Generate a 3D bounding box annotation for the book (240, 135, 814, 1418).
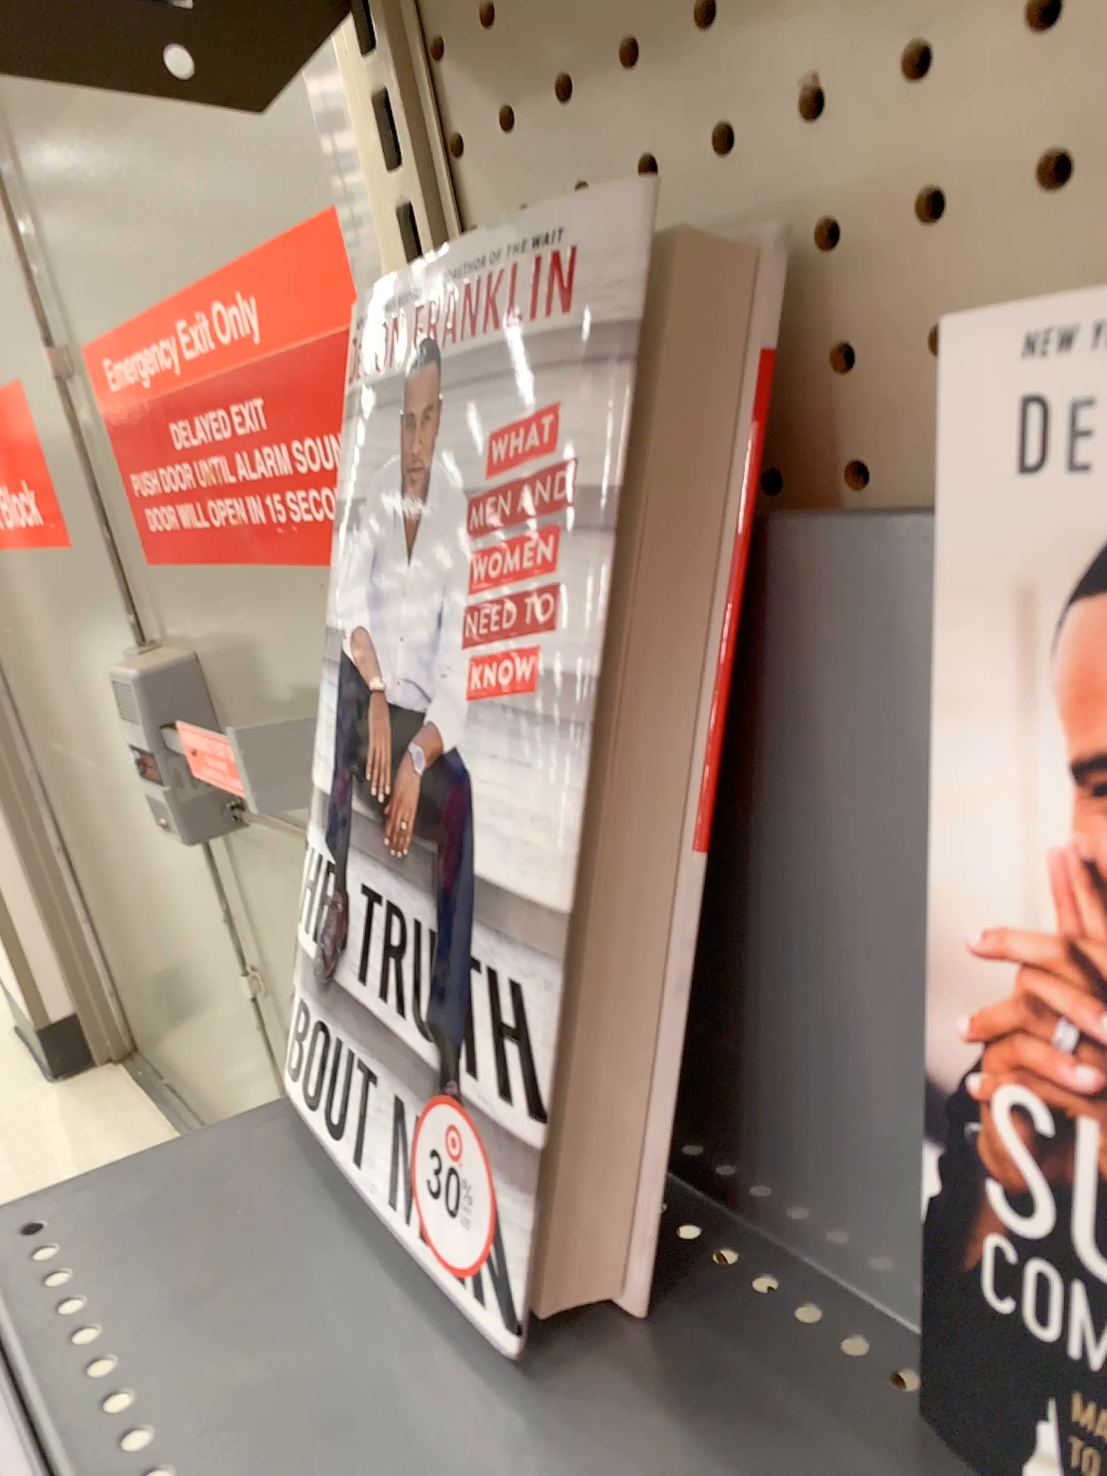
[{"bbox_3d":[-0.023,0.002,0.284,0.040,0.236,0.161,4,6,-33],"label":"book"}]
